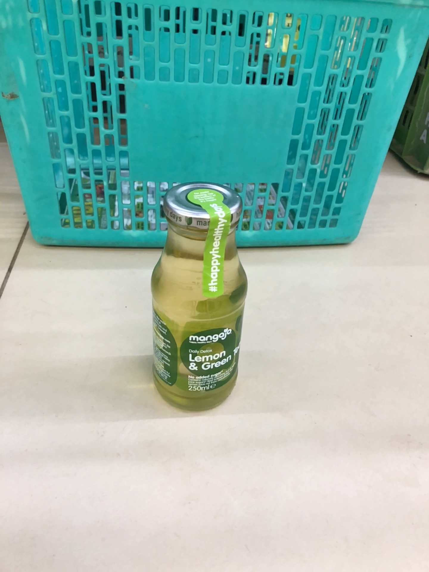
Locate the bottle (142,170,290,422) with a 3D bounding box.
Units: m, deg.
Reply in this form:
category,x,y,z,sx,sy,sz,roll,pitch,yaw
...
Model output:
category,x,y,z,sx,sy,sz,roll,pitch,yaw
bottle,-0.007,0.009,0.318,0.070,0.149,0.070,3,36,-2
